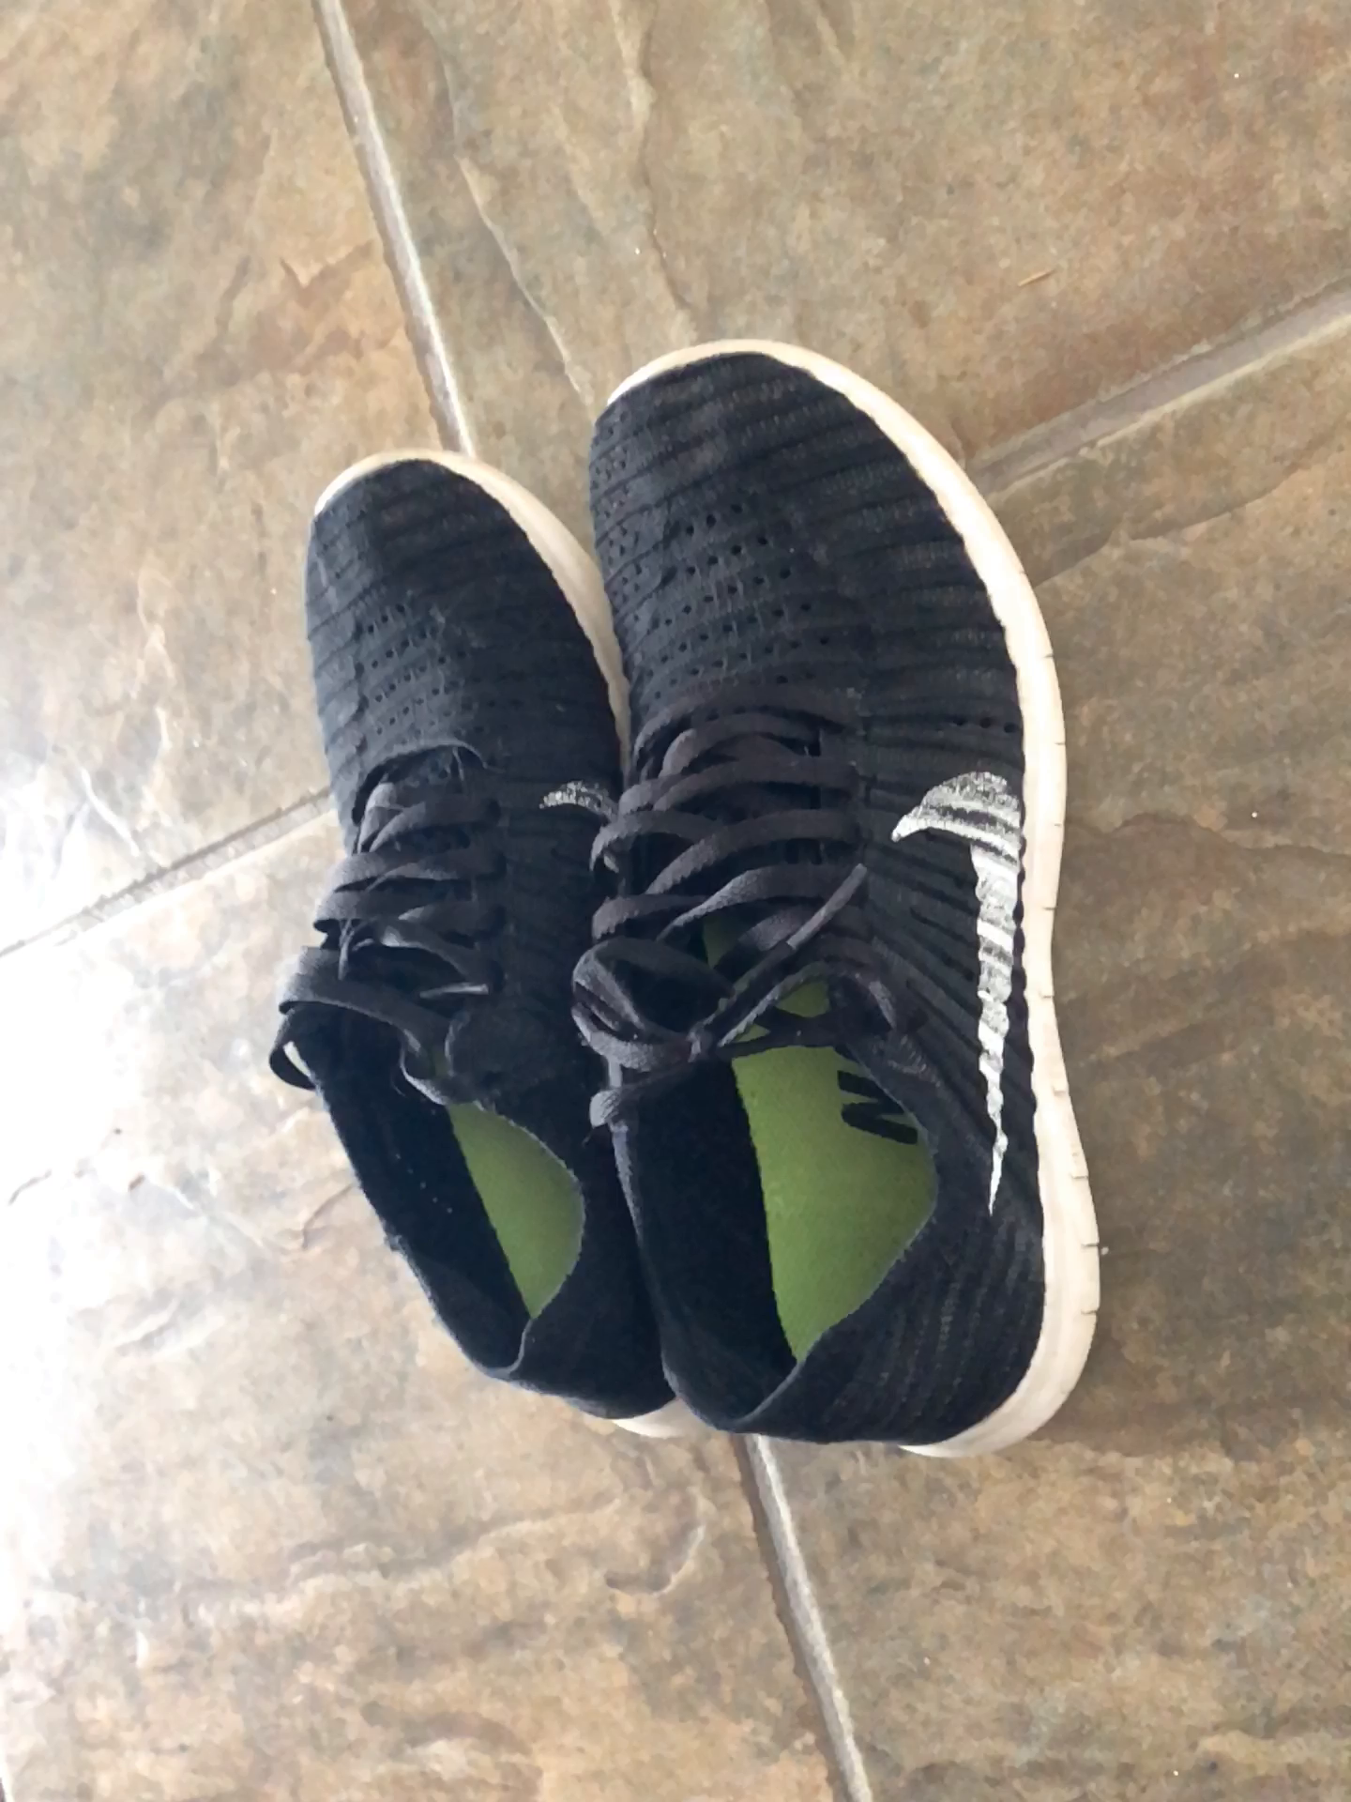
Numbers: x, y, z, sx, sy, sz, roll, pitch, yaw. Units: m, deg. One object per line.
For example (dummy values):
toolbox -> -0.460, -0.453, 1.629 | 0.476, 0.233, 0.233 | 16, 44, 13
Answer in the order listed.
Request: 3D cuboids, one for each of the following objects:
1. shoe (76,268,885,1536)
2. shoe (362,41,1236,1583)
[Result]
shoe -> -0.049, 0.001, 0.366 | 0.100, 0.090, 0.260 | -21, 80, 28
shoe -> 0.026, -0.011, 0.307 | 0.100, 0.090, 0.260 | -15, 83, 29
